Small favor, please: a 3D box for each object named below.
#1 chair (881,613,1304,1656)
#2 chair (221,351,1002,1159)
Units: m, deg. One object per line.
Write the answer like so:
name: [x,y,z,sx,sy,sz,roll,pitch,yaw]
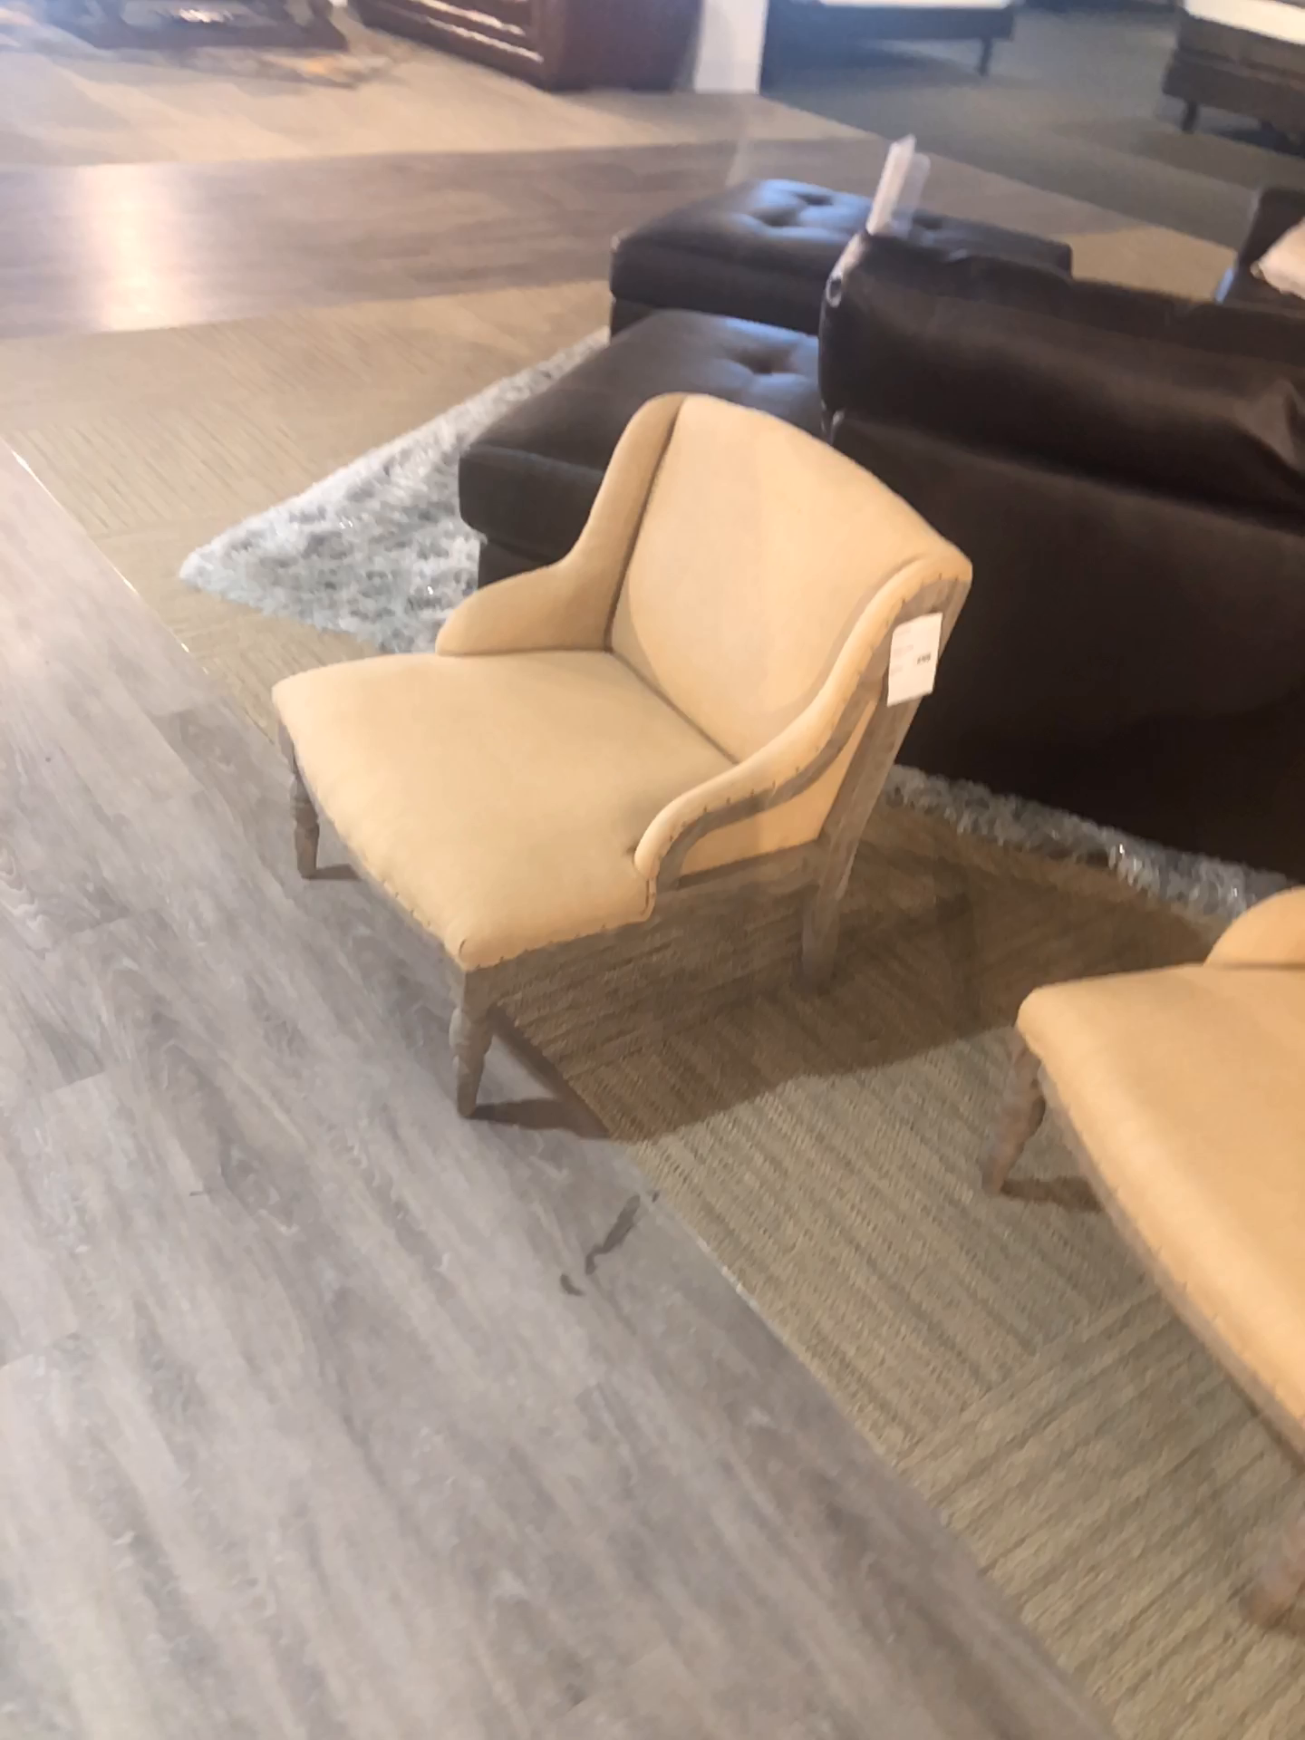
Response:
chair: [0.742,0.201,1.401,0.719,0.625,0.629,-8,39,-18]
chair: [-0.091,-0.195,1.851,0.670,0.685,0.639,-17,43,-29]
